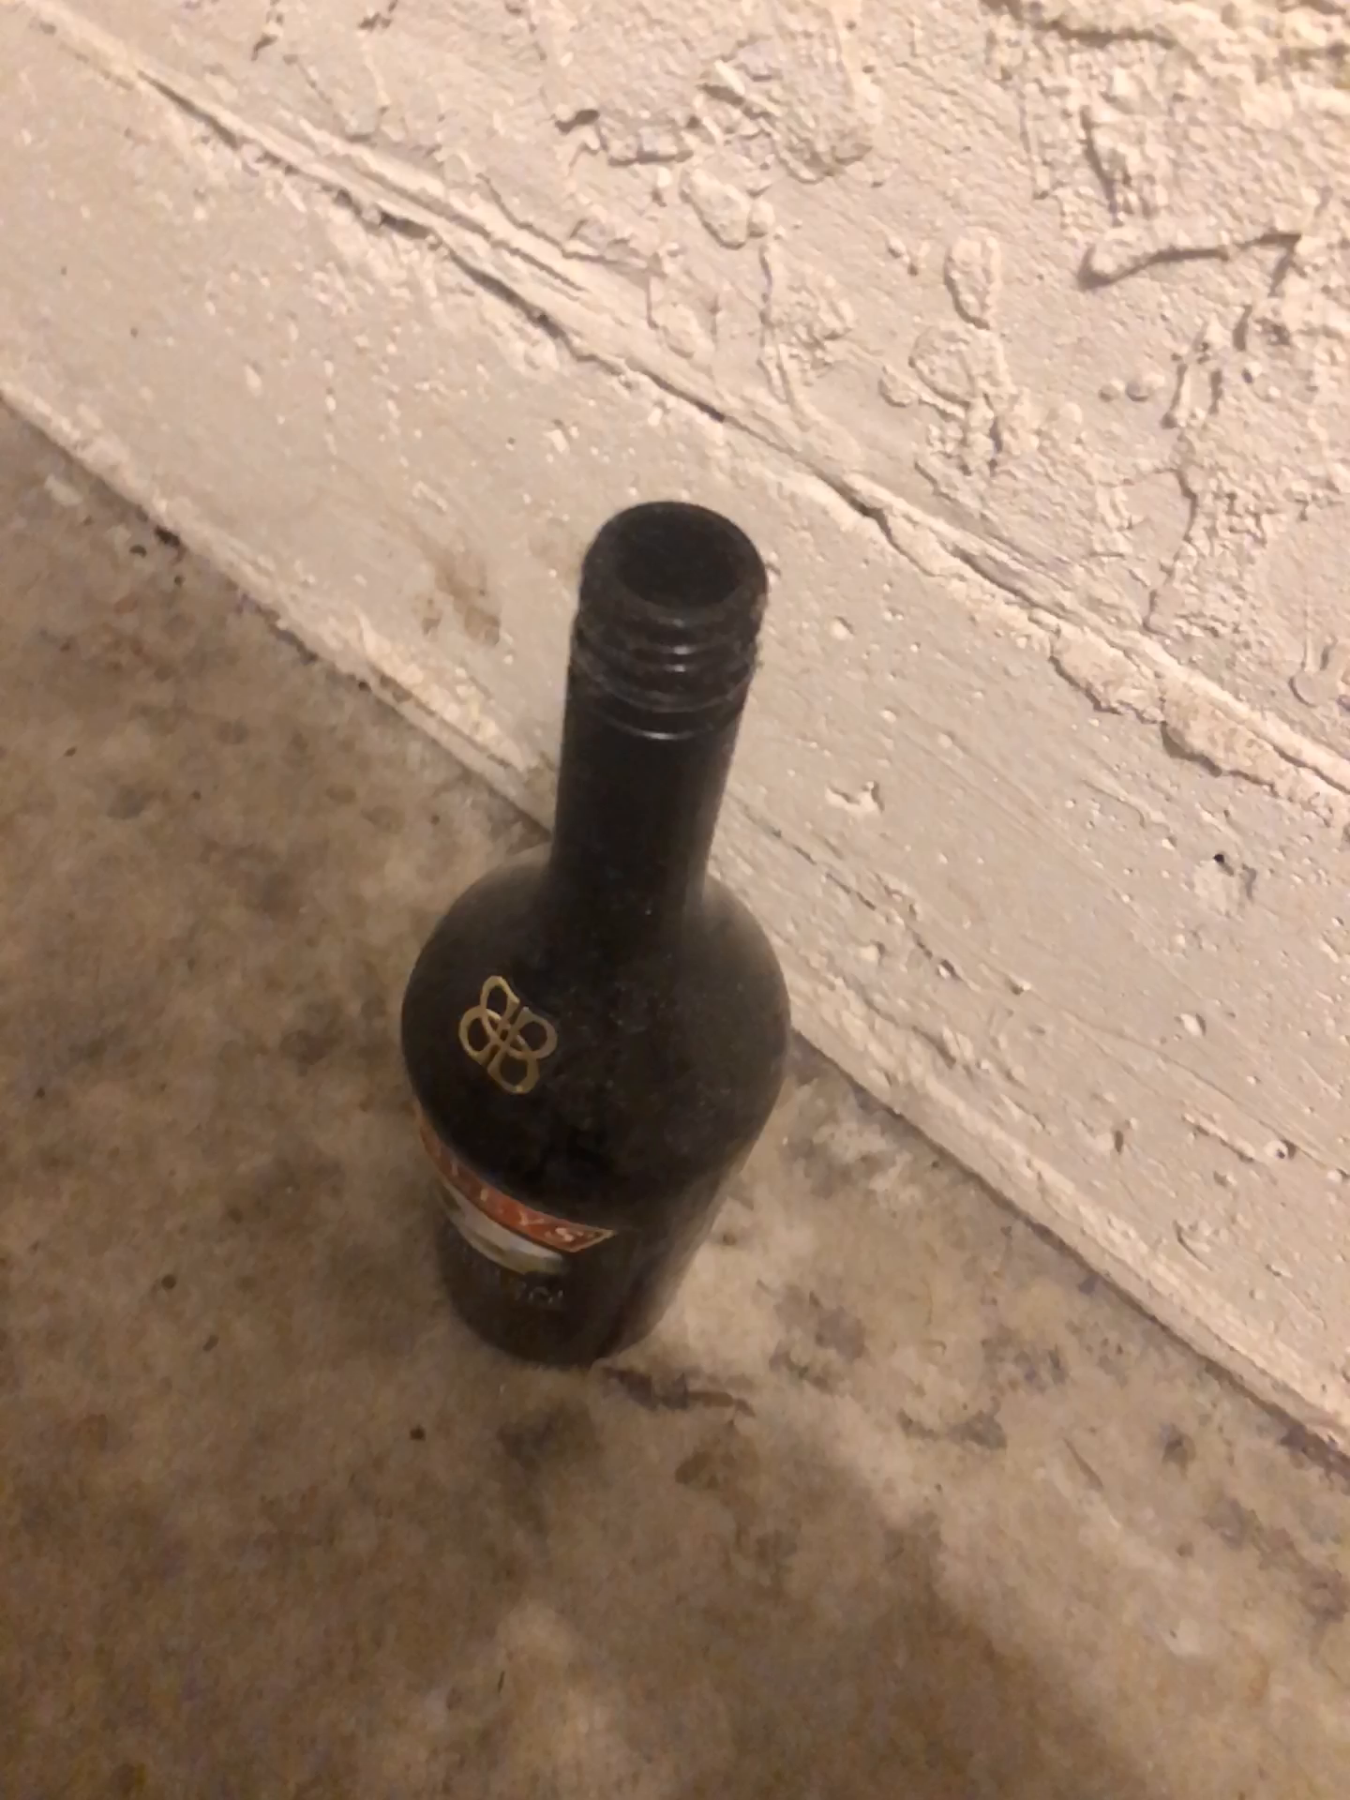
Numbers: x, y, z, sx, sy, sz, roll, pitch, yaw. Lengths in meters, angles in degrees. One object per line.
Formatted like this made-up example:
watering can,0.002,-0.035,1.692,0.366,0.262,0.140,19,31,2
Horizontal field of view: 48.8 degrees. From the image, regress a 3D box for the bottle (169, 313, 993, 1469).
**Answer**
bottle,-0.025,0.025,0.321,0.090,0.258,0.080,40,59,21
